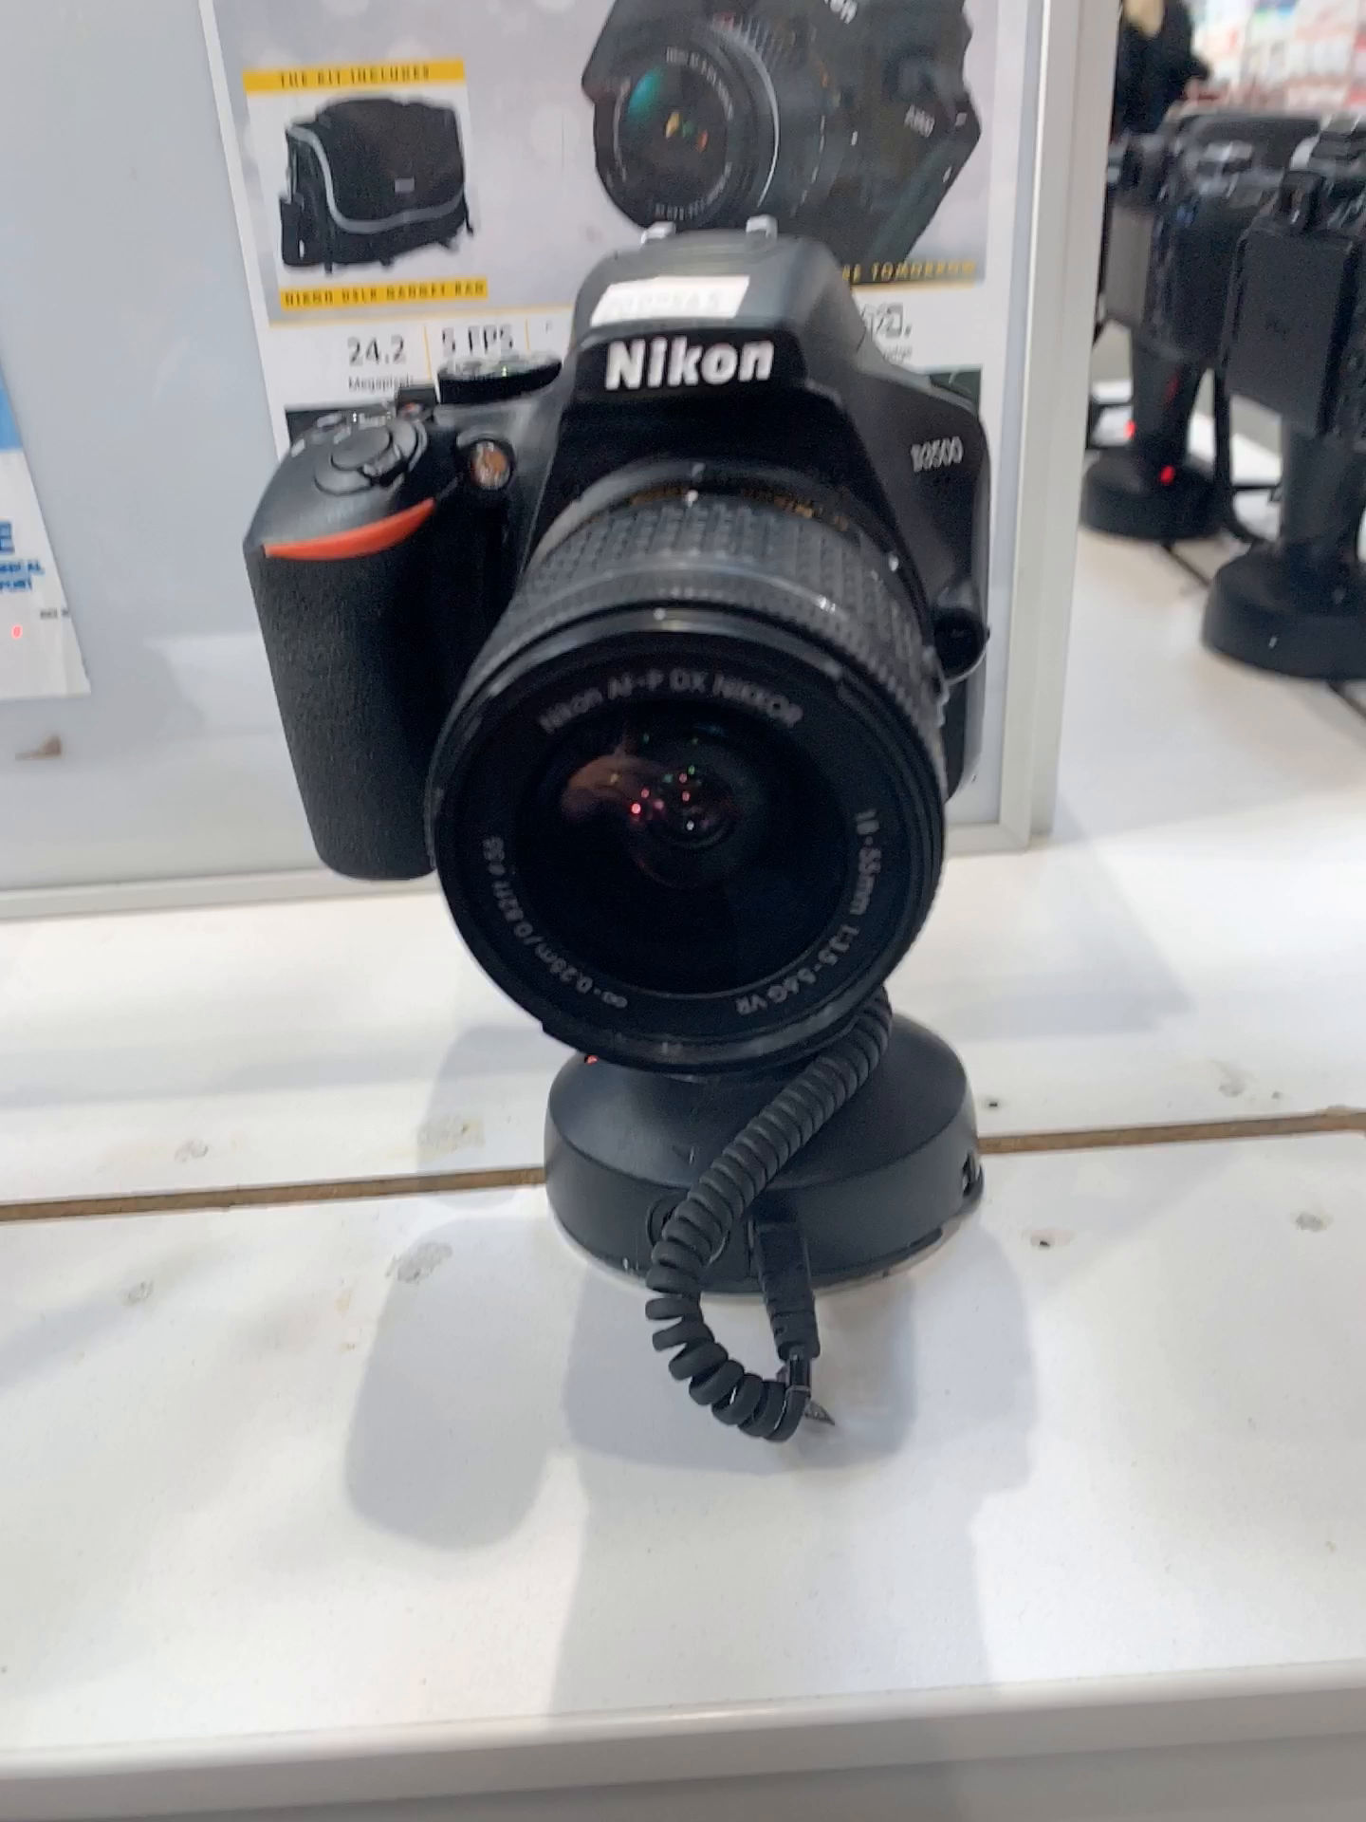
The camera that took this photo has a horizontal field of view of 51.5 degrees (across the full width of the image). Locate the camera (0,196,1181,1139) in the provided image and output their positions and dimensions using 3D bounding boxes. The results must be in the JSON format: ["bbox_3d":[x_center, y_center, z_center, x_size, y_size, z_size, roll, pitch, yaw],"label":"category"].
[{"bbox_3d":[-0.006,-0.045,0.214,0.116,0.099,0.121,-3,29,3],"label":"camera"}]
